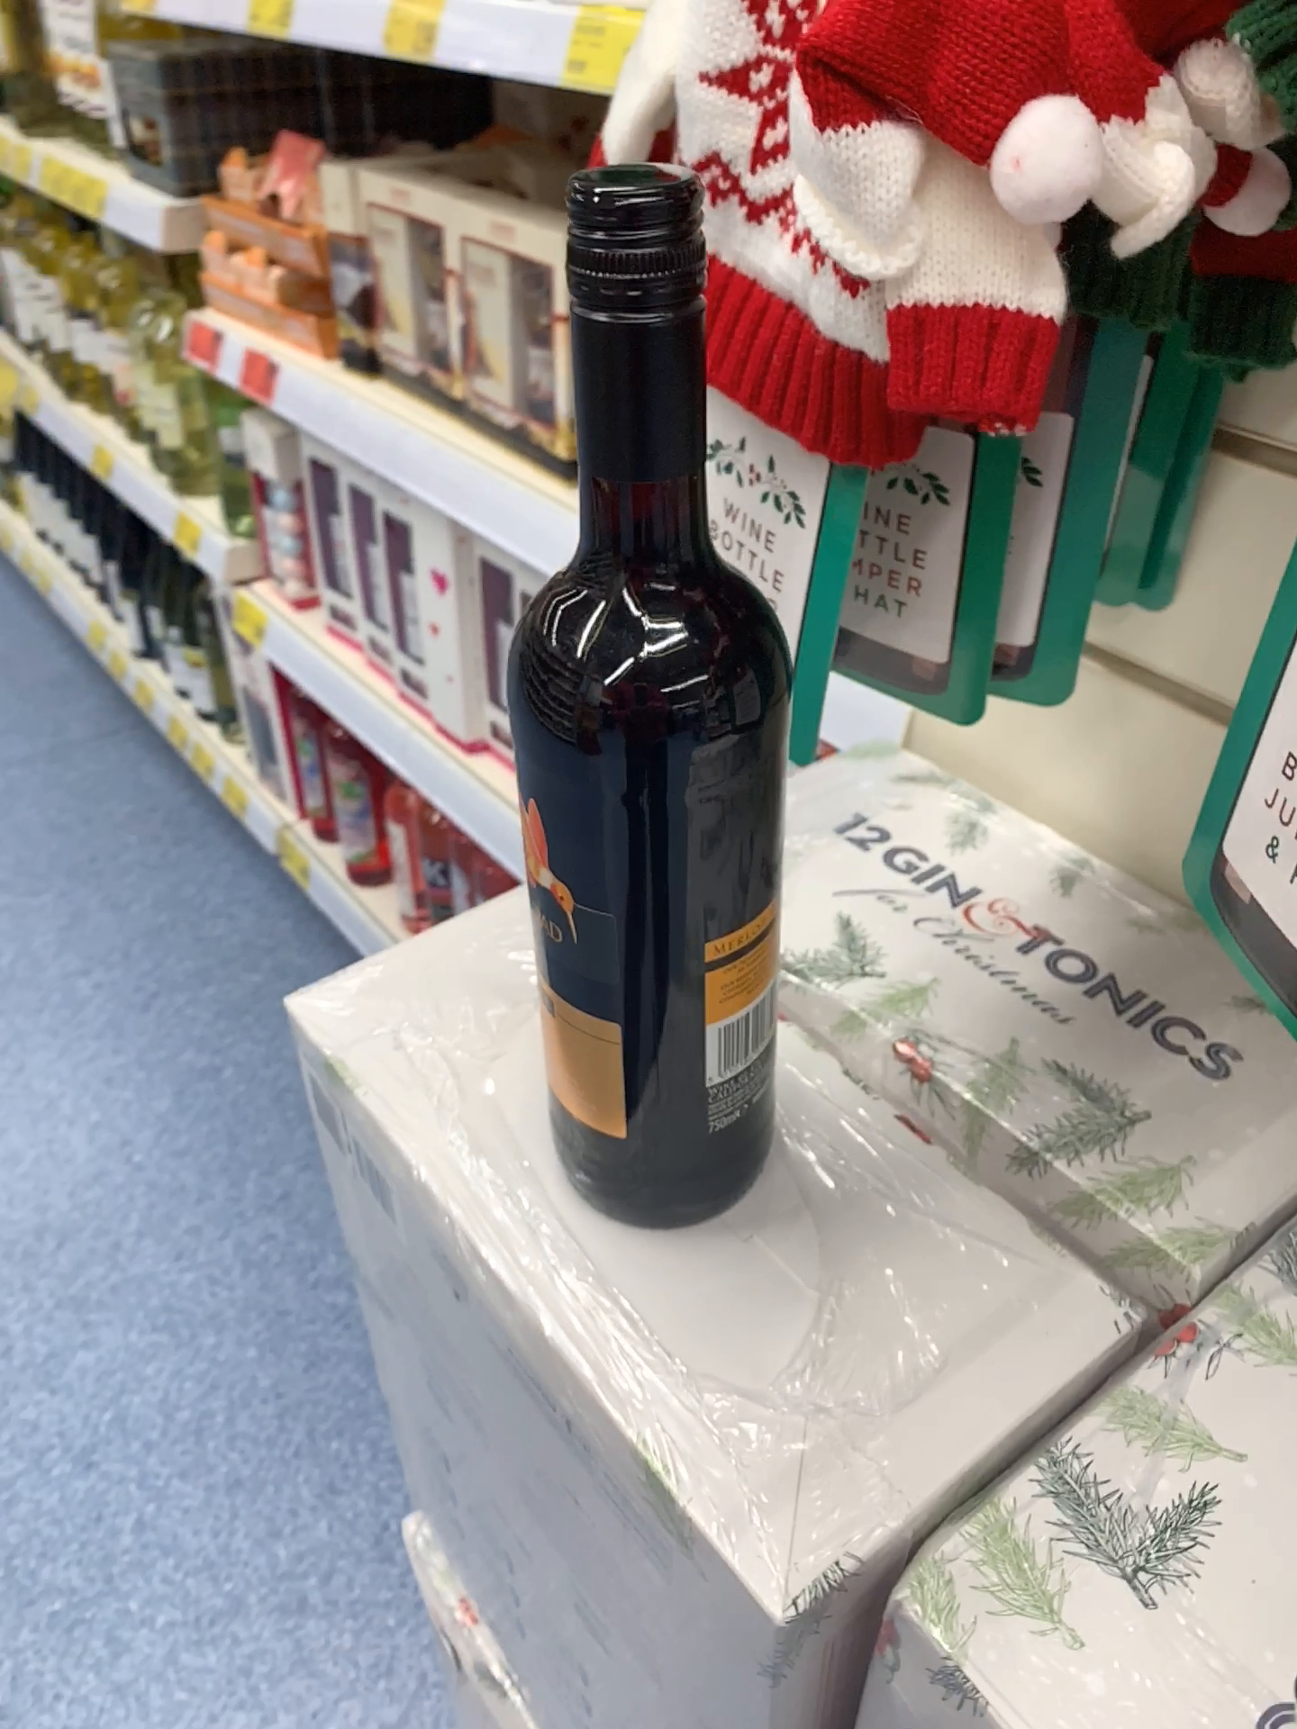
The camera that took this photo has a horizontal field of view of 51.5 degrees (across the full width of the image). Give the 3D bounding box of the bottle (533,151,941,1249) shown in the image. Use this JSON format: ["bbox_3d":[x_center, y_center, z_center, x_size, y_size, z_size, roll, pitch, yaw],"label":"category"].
[{"bbox_3d":[0.013,-0.024,0.362,0.074,0.288,0.078,0,35,0],"label":"bottle"}]
